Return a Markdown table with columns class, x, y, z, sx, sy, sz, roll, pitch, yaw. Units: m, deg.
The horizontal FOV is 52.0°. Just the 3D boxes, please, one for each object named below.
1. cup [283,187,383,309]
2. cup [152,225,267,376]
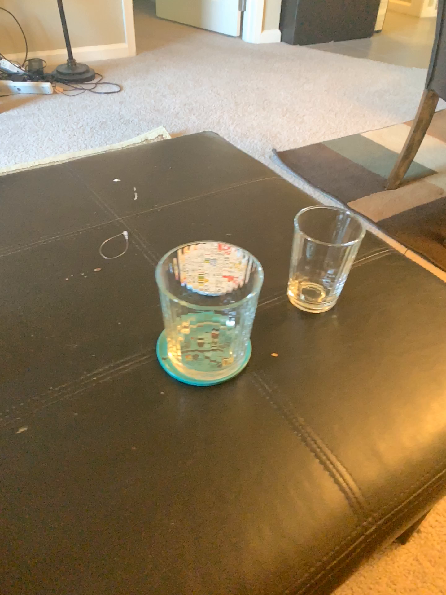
| class | x | y | z | sx | sy | sz | roll | pitch | yaw |
| --- | --- | --- | --- | --- | --- | --- | --- | --- | --- |
| cup | 0.100 | -0.047 | 0.437 | 0.060 | 0.089 | 0.070 | -3 | 42 | -6 |
| cup | -0.015 | 0.001 | 0.378 | 0.080 | 0.089 | 0.080 | 1 | 41 | -1 |
